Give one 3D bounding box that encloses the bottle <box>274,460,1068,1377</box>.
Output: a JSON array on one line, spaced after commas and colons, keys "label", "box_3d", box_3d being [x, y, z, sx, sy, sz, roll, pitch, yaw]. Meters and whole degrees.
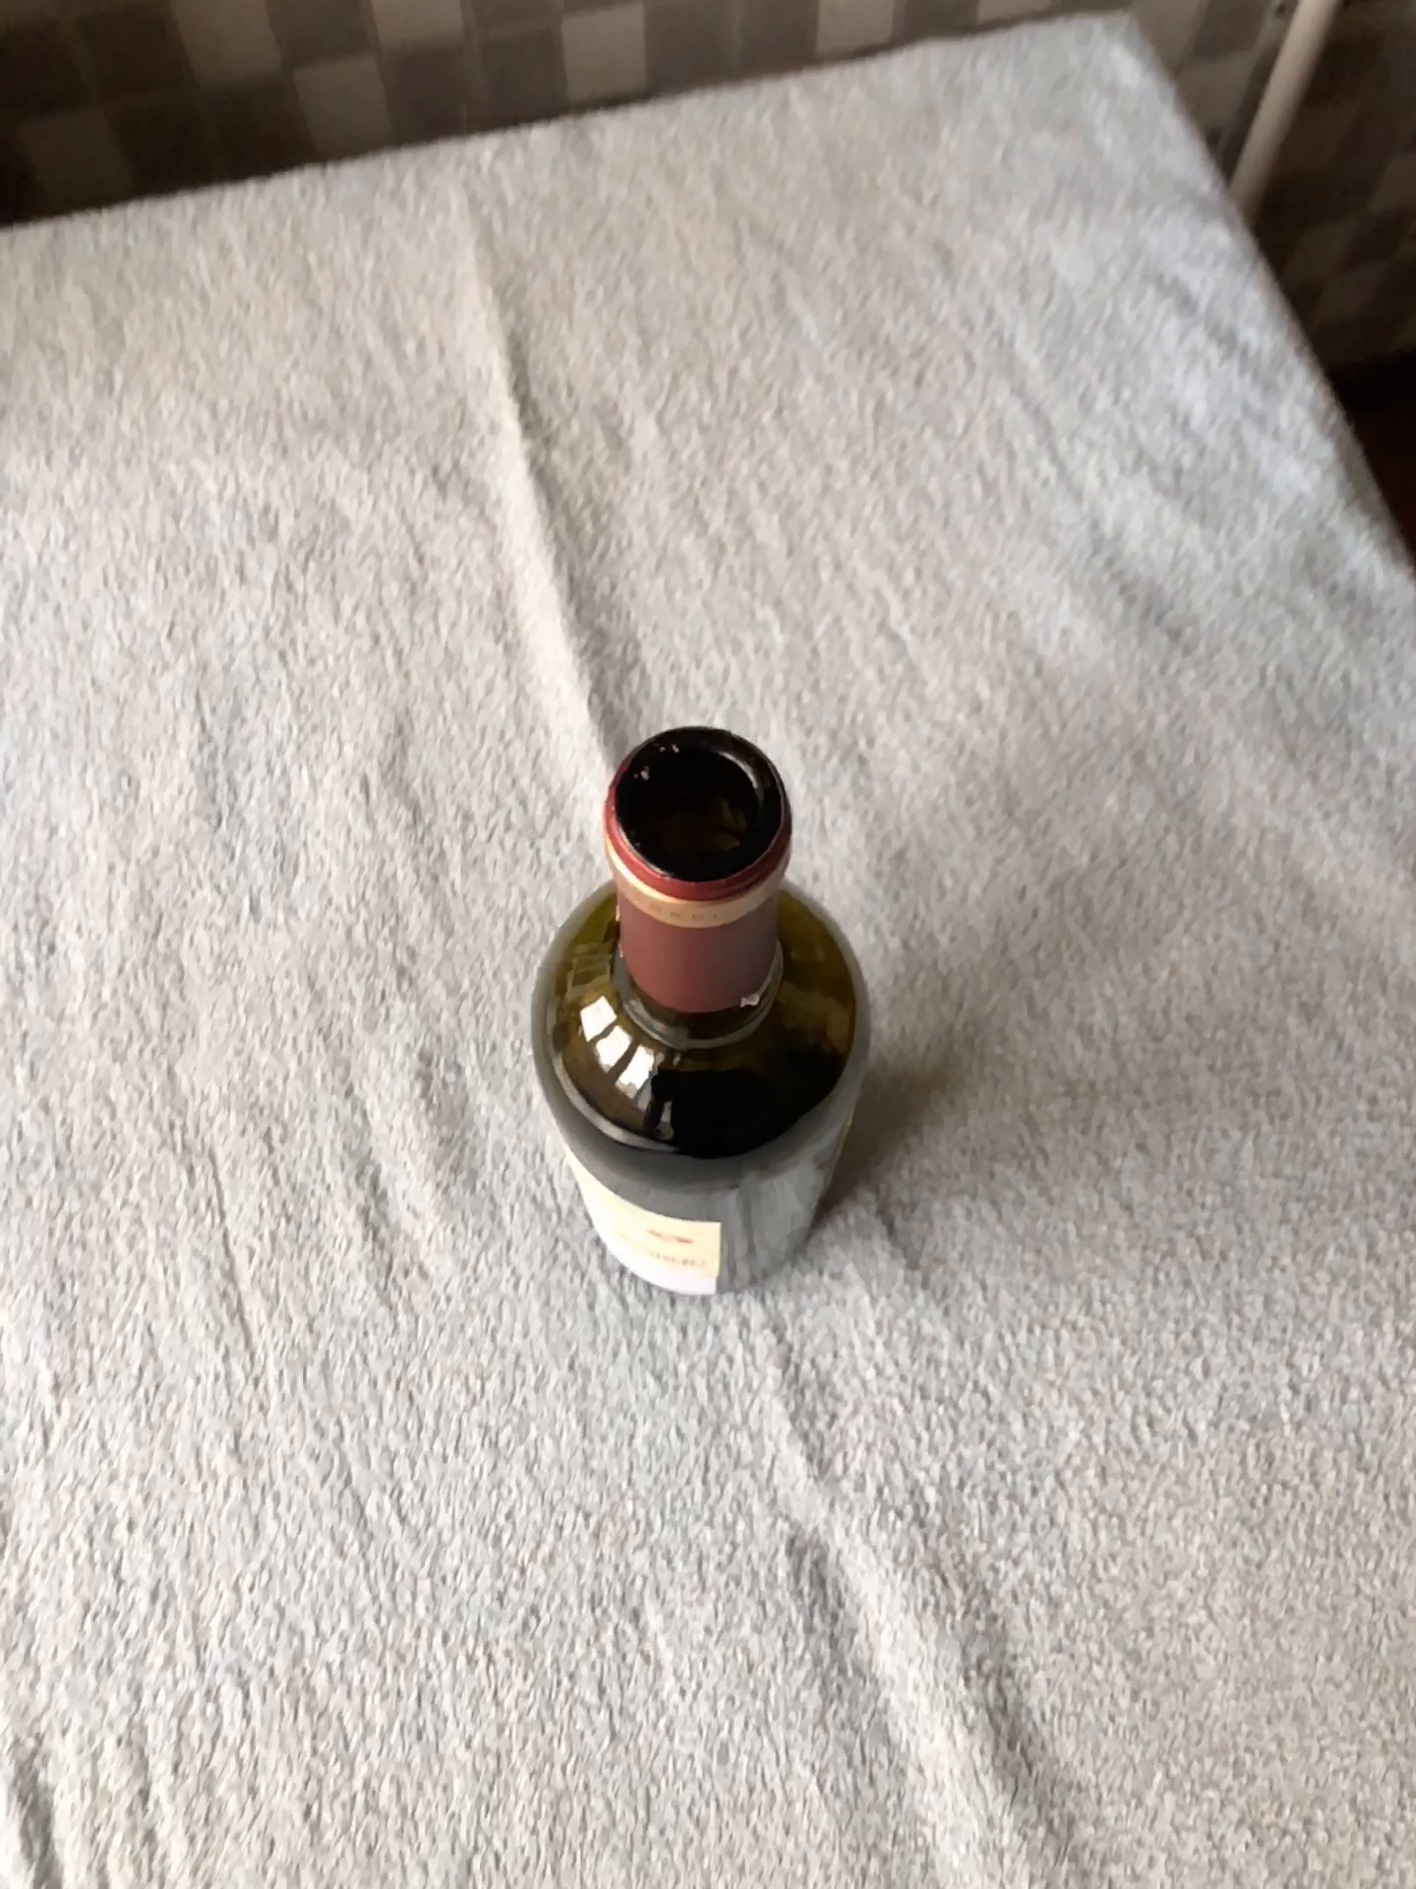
[{"label": "bottle", "box_3d": [-0.004, 0.029, 0.364, 0.080, 0.300, 0.080, 0, 70, 0]}]
